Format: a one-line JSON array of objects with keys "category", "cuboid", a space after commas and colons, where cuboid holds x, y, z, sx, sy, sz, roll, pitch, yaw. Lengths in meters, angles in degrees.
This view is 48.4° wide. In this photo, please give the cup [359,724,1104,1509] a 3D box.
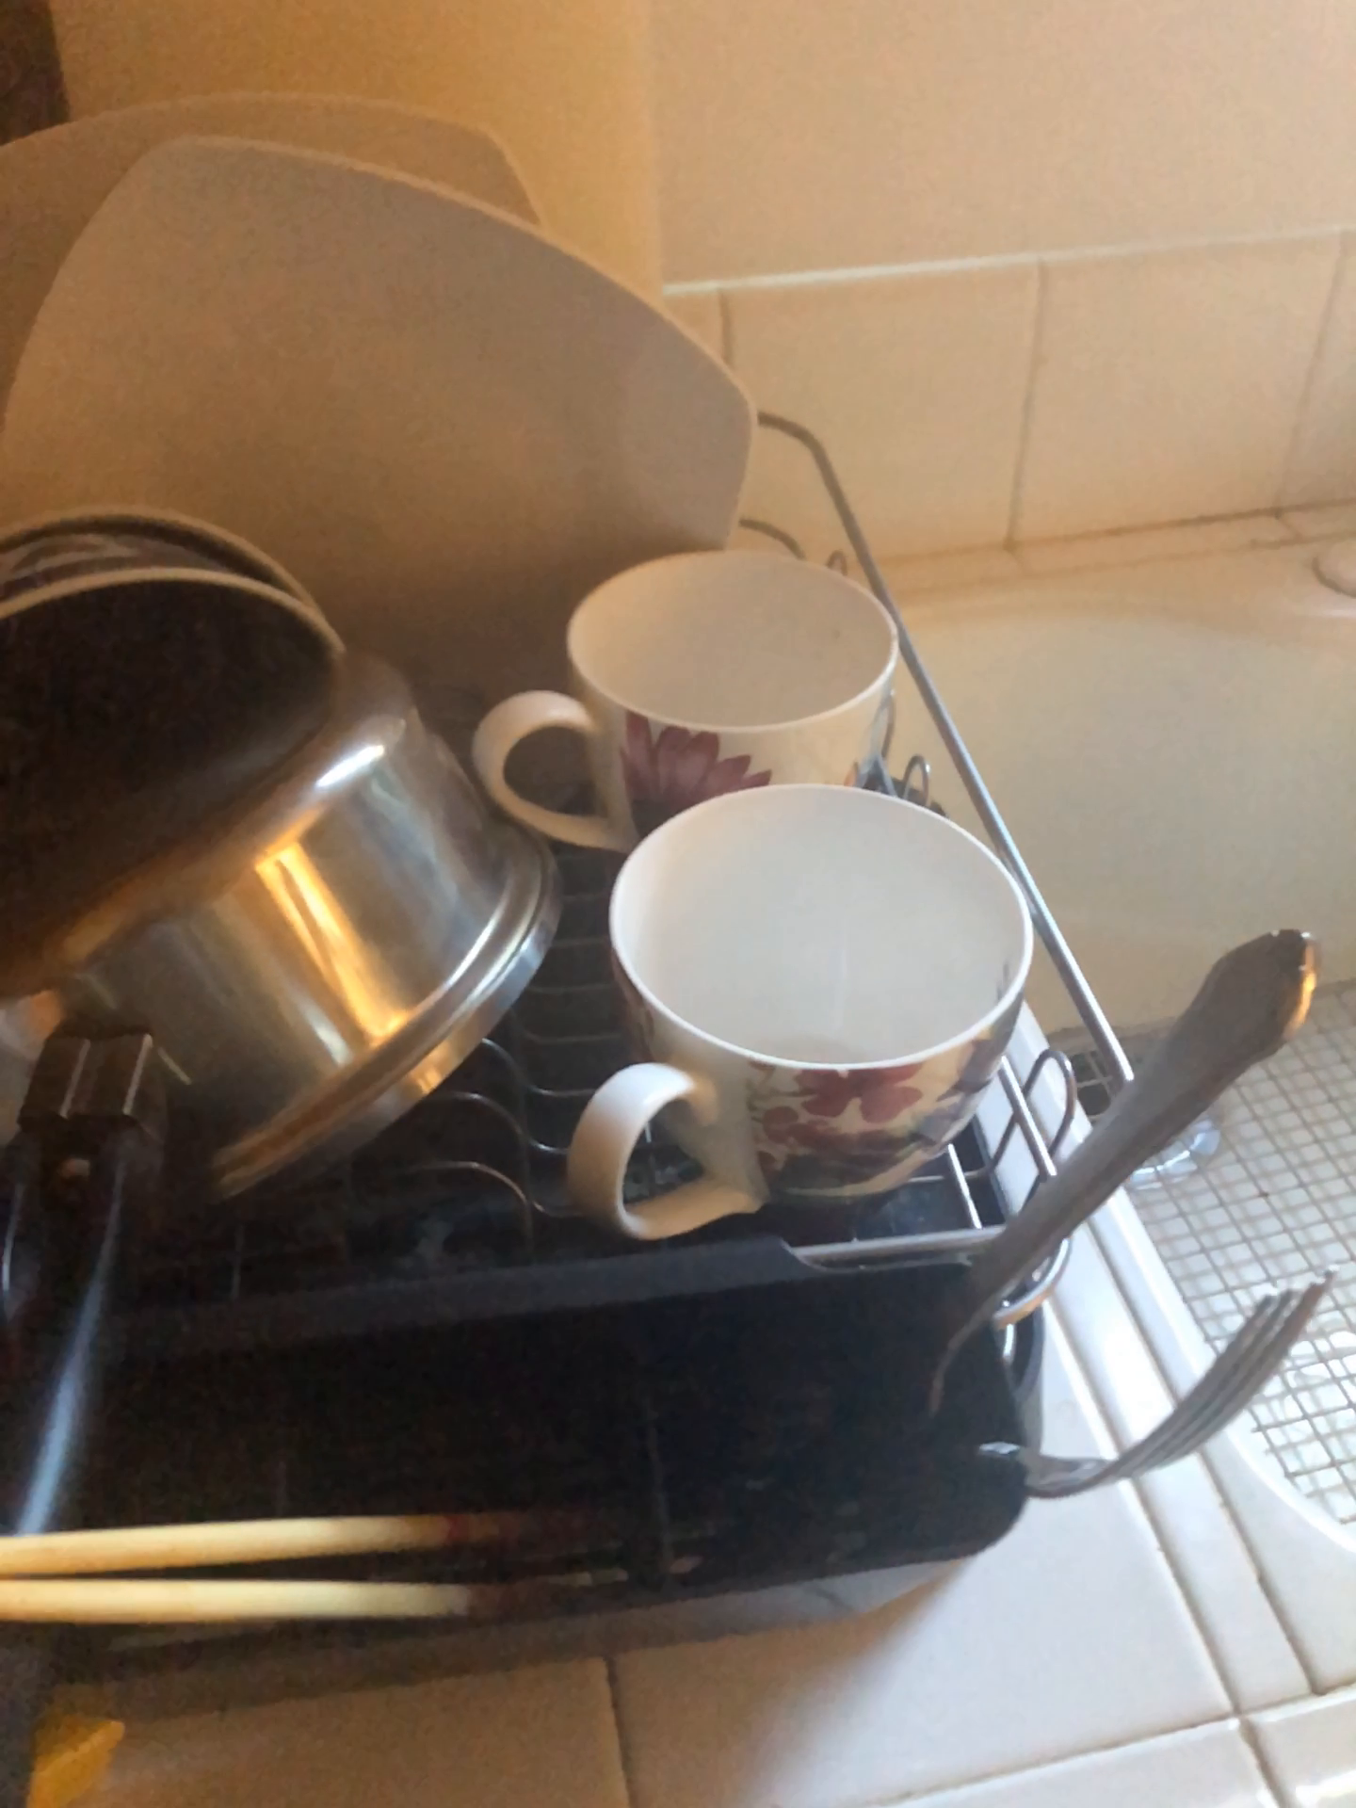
[{"category": "cup", "cuboid": [0.019, 0.046, 0.404, 0.110, 0.089, 0.161, 28, 50, 28]}]

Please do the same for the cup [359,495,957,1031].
[{"category": "cup", "cuboid": [-0.006, -0.055, 0.520, 0.161, 0.089, 0.110, -26, 48, -24]}]
